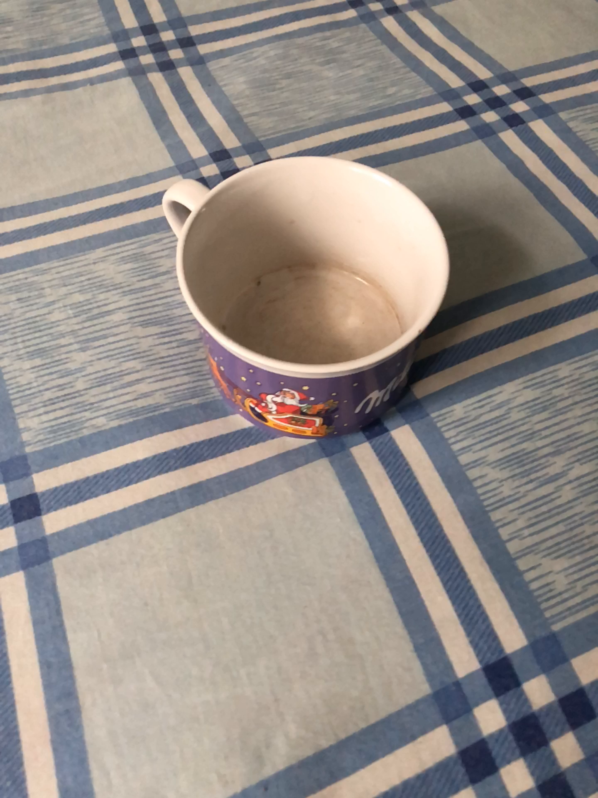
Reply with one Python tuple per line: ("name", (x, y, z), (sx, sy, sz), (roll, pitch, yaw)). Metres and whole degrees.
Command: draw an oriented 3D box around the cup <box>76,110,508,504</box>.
("cup", (-0.003, -0.044, 0.282), (0.130, 0.063, 0.104), (35, 64, 20))
